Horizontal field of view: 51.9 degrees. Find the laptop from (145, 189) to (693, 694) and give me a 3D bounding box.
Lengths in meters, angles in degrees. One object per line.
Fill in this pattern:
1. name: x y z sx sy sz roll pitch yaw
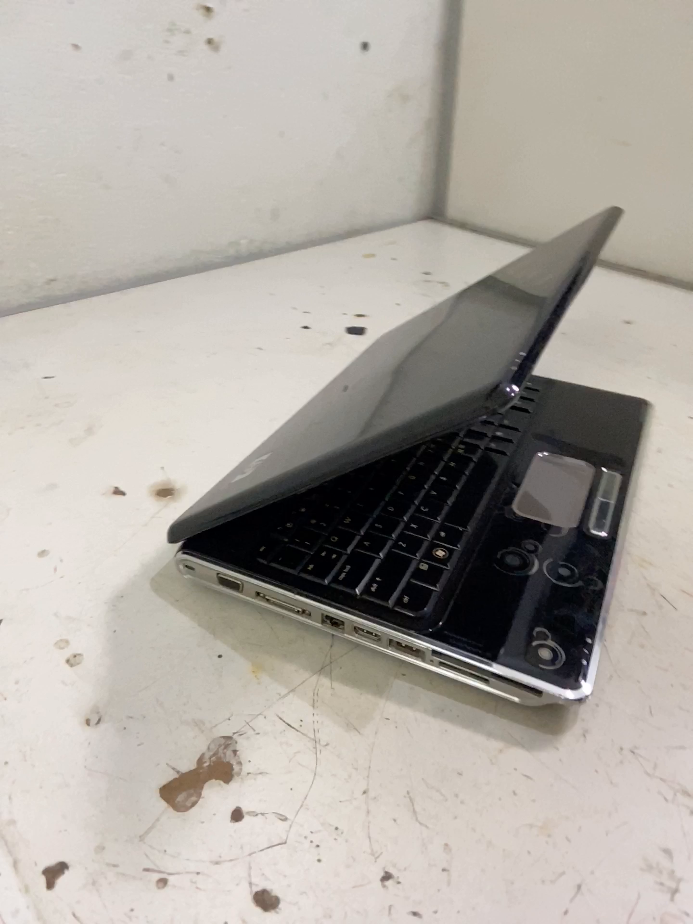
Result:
1. laptop: 0.078 -0.059 0.464 0.231 0.137 0.329 16 35 20
